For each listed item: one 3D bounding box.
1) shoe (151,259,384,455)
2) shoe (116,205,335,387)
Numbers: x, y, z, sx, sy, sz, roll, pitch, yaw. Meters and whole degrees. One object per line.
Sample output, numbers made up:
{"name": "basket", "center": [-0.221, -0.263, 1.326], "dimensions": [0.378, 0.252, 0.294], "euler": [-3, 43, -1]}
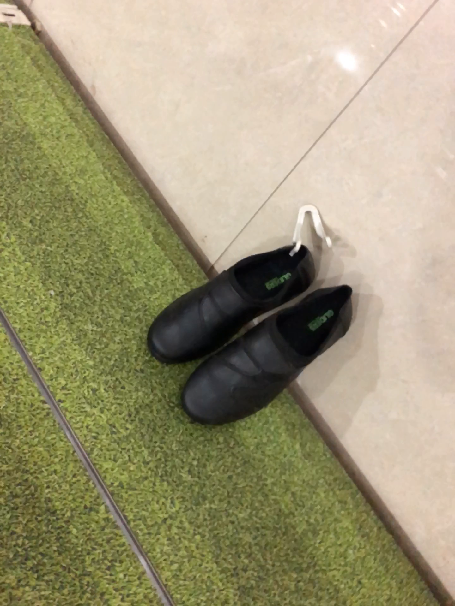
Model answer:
{"name": "shoe", "center": [0.045, 0.062, 0.574], "dimensions": [0.236, 0.081, 0.090], "euler": [-34, 79, 2]}
{"name": "shoe", "center": [0.000, -0.003, 0.590], "dimensions": [0.236, 0.081, 0.080], "euler": [-34, 79, 2]}
